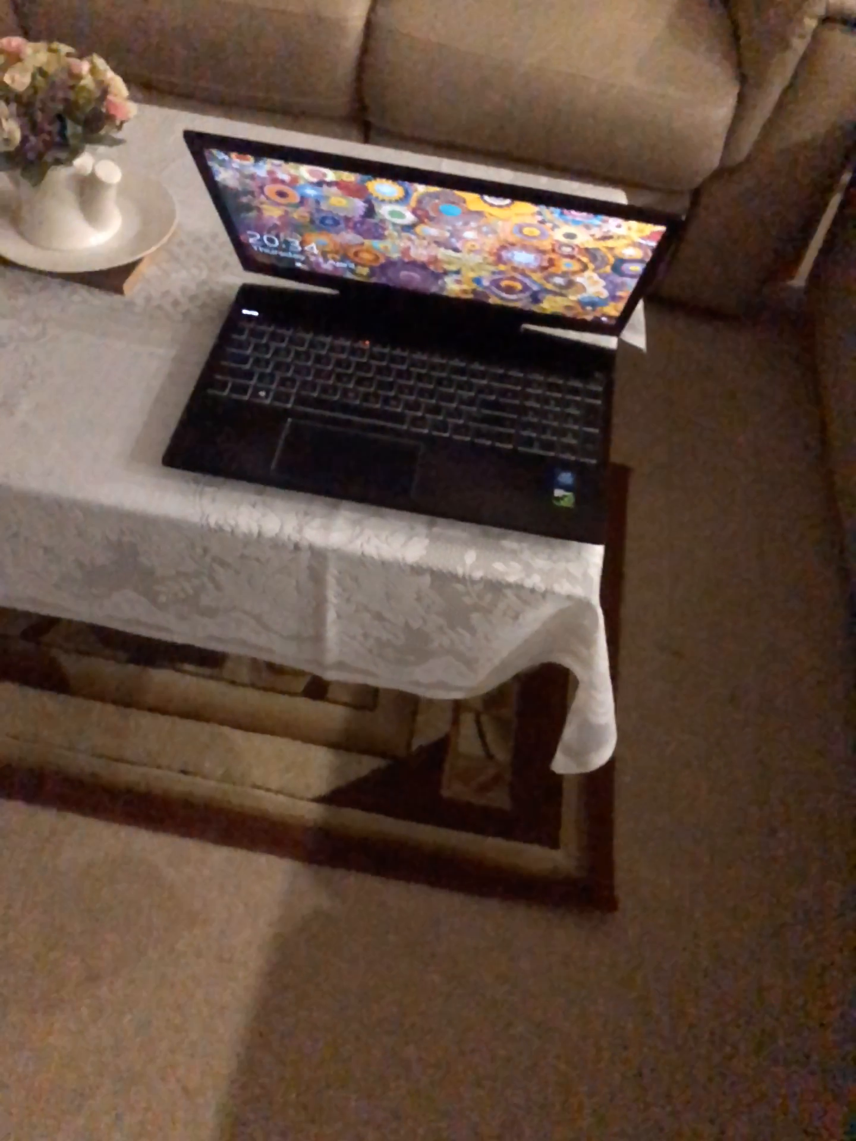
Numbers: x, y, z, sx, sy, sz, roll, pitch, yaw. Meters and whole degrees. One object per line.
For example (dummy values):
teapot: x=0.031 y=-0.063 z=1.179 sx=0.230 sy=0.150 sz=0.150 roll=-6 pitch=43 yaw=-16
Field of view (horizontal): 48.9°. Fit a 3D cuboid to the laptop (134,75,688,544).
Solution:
laptop: x=-0.001 y=-0.207 z=0.746 sx=0.355 sy=0.199 sz=0.244 roll=10 pitch=52 yaw=1
